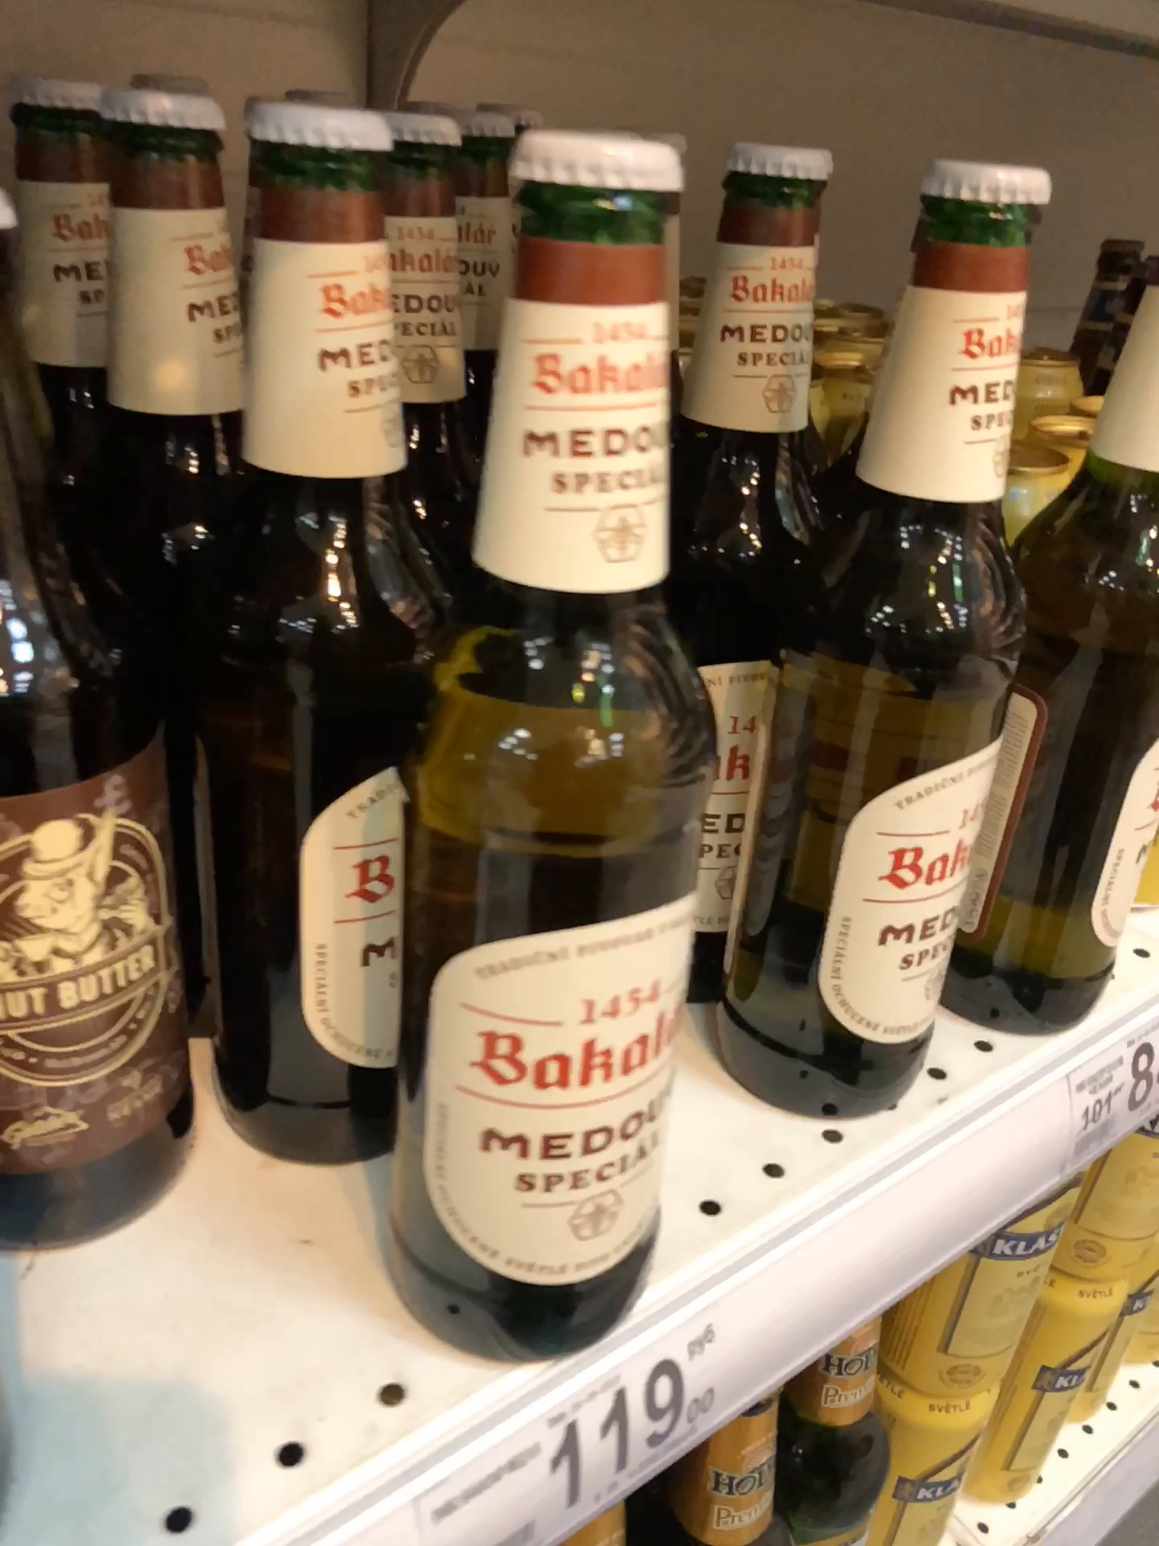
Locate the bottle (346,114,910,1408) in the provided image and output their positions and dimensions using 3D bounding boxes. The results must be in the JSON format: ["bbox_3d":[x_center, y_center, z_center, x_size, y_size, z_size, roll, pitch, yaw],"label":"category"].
[{"bbox_3d":[-0.004,0.007,0.264,0.070,0.249,0.066,4,26,-2],"label":"bottle"}]

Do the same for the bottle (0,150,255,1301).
[{"bbox_3d":[-0.120,-0.004,0.279,0.069,0.231,0.061,-15,32,-35],"label":"bottle"}]

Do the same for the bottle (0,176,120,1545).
[{"bbox_3d":[-0.126,0.039,0.197,0.061,0.233,0.069,8,26,6],"label":"bottle"}]

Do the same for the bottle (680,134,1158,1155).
[{"bbox_3d":[0.084,-0.025,0.334,0.065,0.249,0.061,4,26,-2],"label":"bottle"}]
